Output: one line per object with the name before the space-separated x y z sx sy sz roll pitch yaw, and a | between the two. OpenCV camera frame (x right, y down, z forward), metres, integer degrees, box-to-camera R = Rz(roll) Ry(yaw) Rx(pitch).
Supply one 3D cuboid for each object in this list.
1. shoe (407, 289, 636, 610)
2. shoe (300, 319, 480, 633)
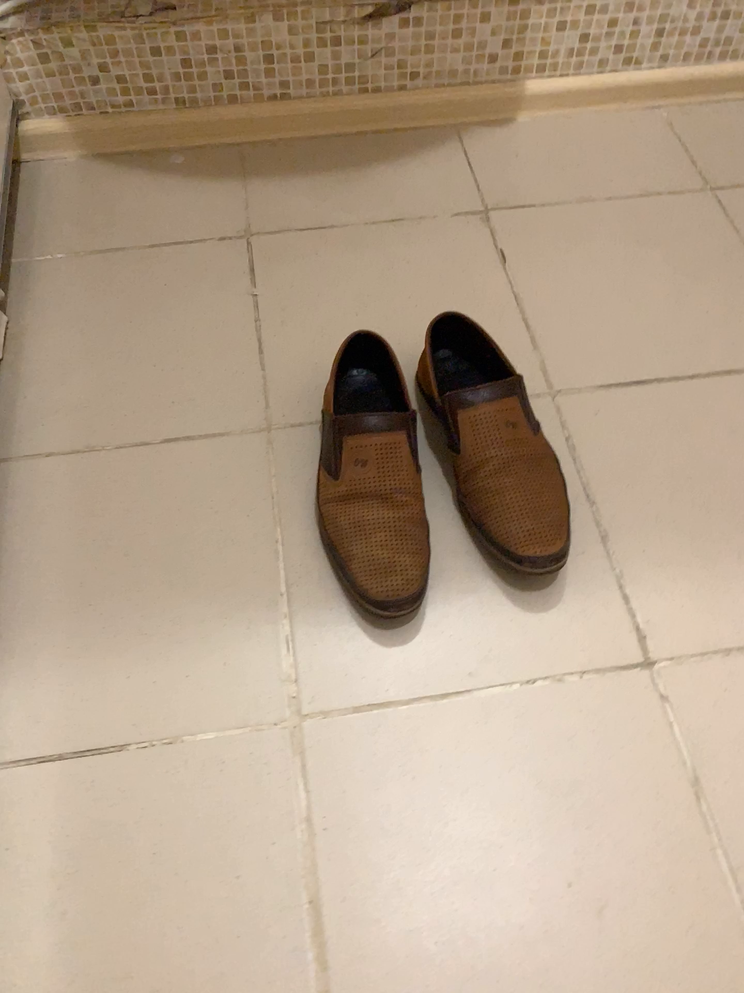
shoe | 0.124 -0.054 0.714 0.110 0.090 0.291 -11 58 -7
shoe | 0.007 -0.027 0.677 0.110 0.080 0.271 -7 58 -5
